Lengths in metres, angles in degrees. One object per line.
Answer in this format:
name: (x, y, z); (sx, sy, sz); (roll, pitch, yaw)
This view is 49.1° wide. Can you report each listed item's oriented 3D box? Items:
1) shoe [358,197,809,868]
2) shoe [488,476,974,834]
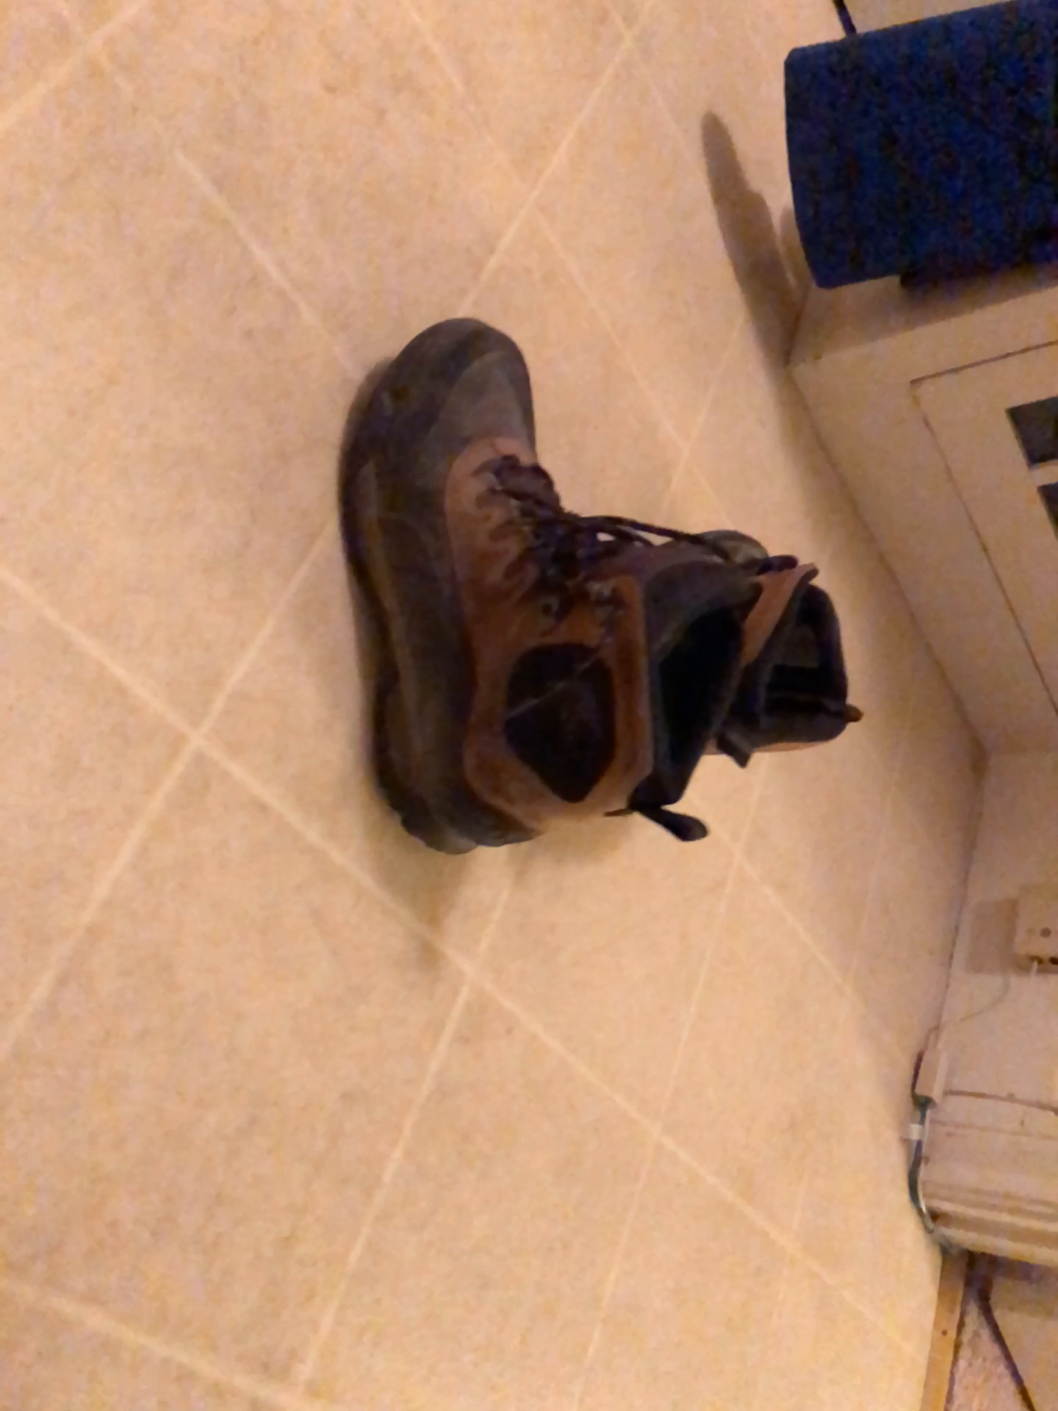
shoe: (0.025, -0.070, 0.615); (0.122, 0.185, 0.299); (2, 84, -51)
shoe: (0.146, -0.038, 0.759); (0.294, 0.185, 0.113); (-36, 113, -47)
